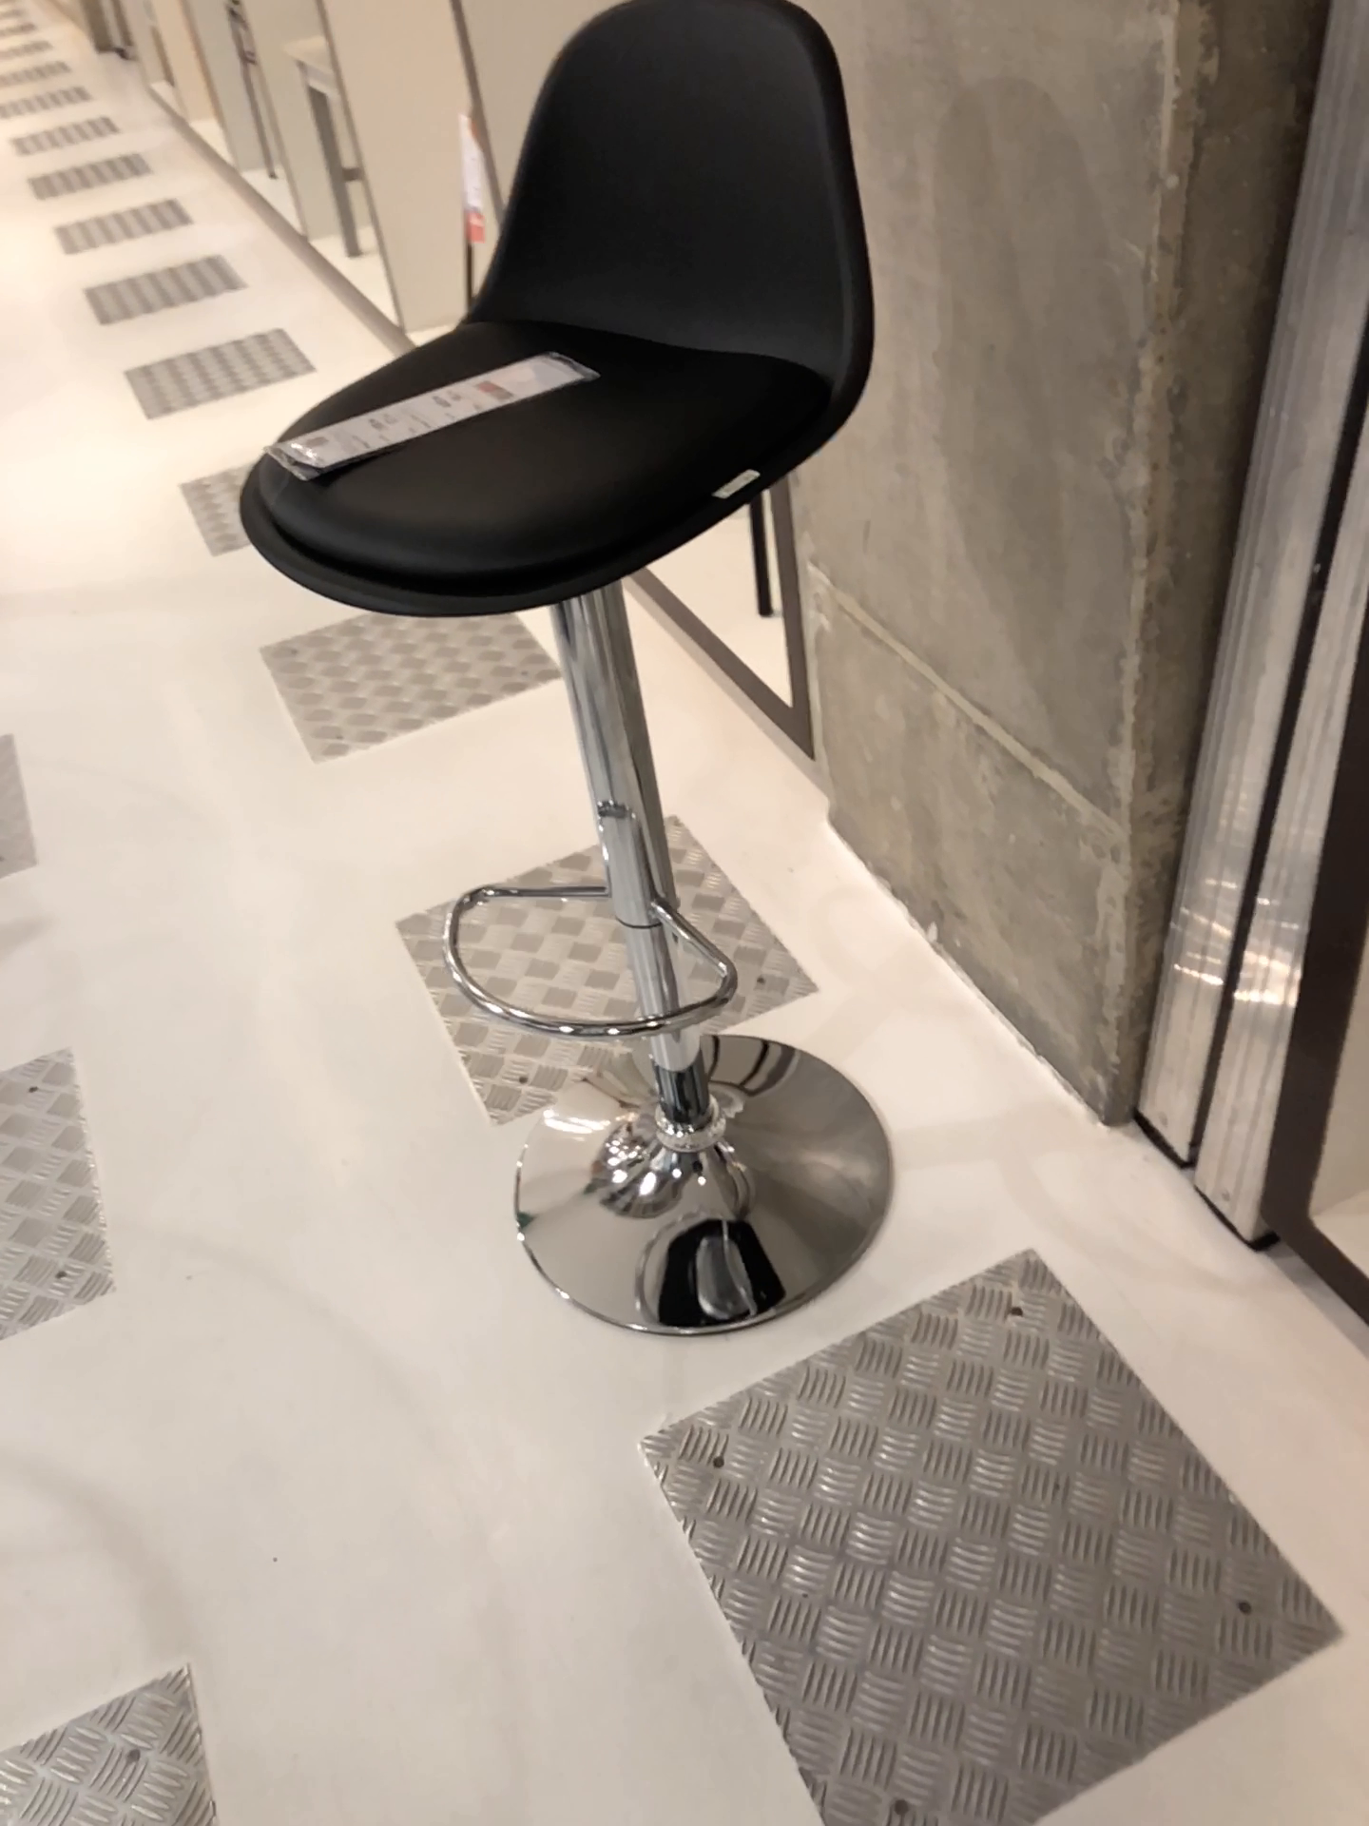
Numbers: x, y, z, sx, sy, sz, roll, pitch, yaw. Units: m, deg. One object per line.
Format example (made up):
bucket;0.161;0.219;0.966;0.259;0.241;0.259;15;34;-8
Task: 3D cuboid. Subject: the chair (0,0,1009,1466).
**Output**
chair;-0.061;-0.119;1.211;0.432;1.012;0.472;28;52;36
